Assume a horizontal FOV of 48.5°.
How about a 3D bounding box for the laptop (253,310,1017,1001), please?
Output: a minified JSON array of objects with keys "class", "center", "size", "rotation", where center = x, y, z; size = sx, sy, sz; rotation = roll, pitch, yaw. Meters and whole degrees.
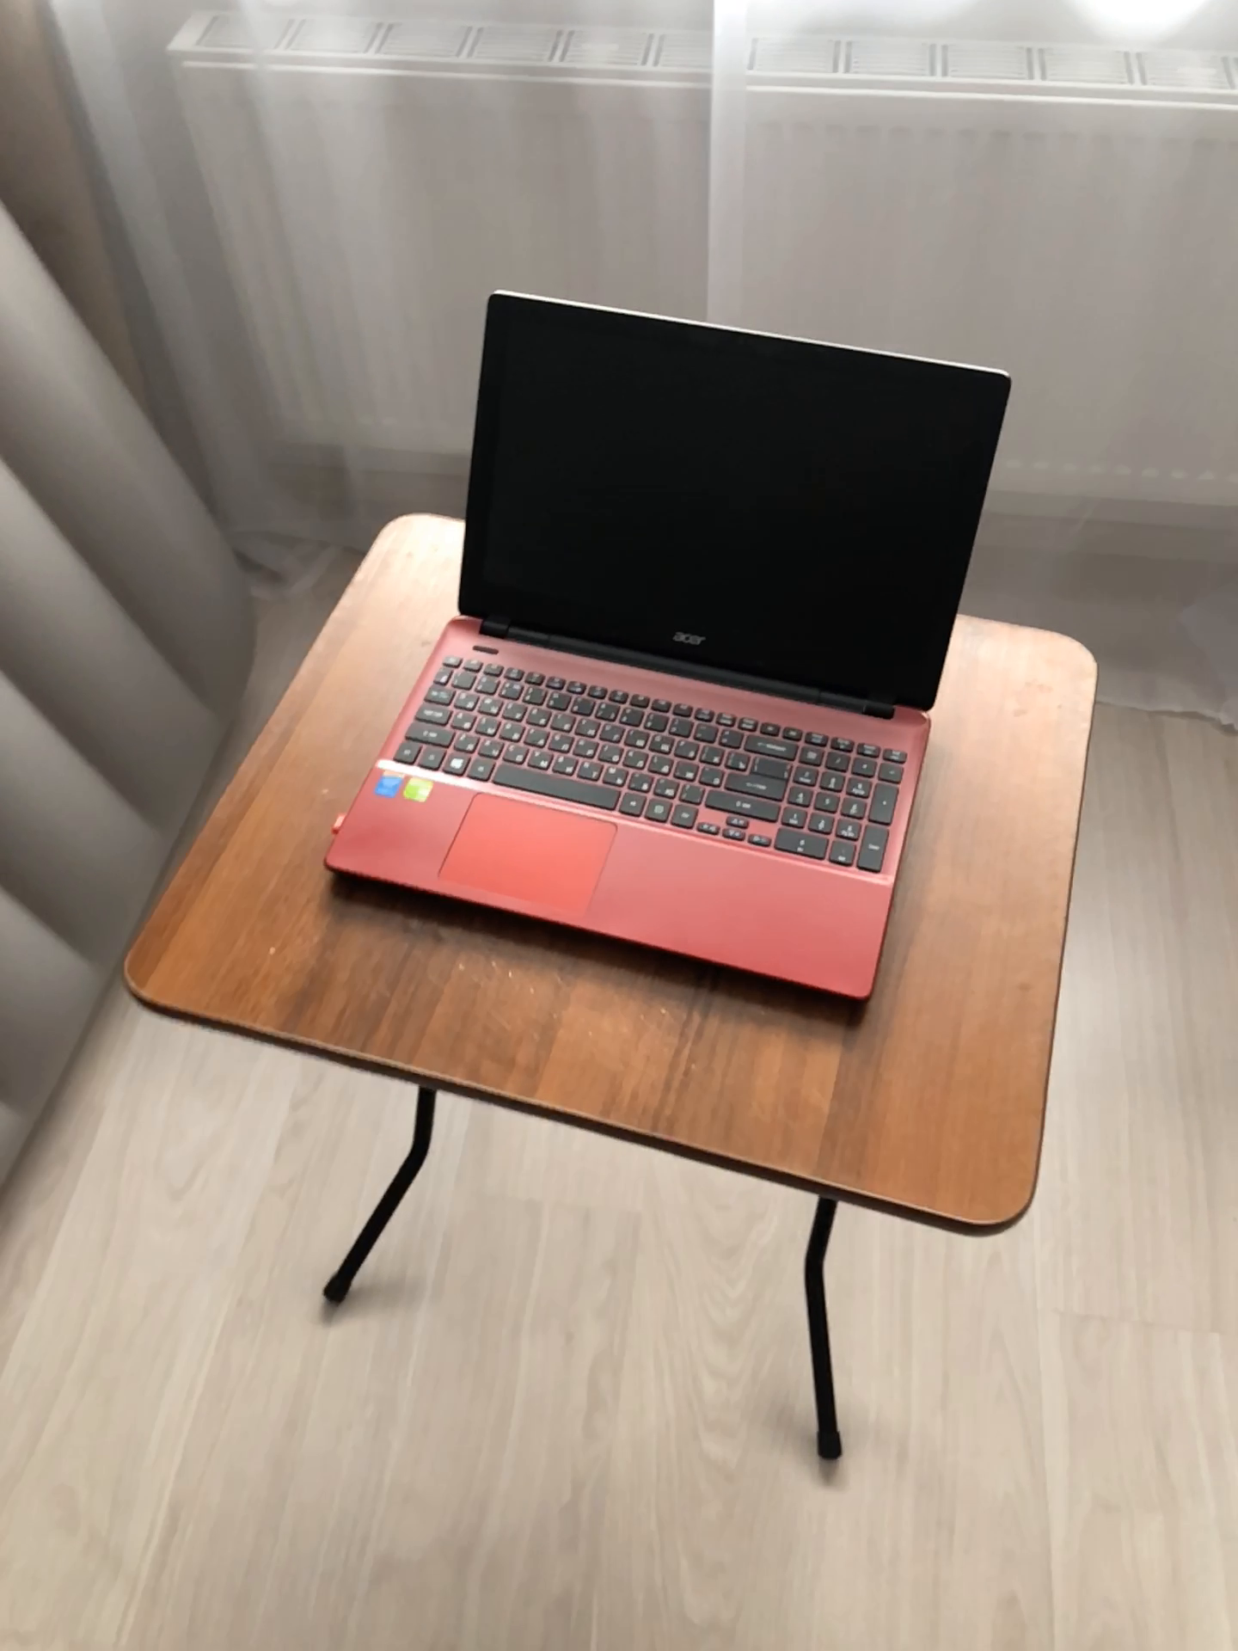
[{"class":"laptop","center":[0.032,-0.132,0.925],"size":[0.372,0.191,0.382],"rotation":[13,54,12]}]
